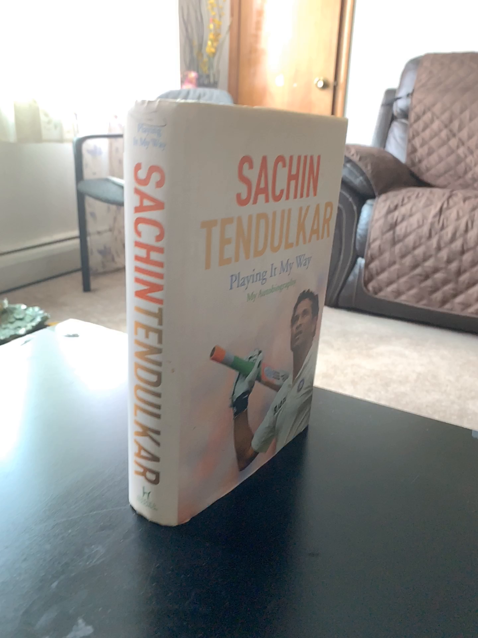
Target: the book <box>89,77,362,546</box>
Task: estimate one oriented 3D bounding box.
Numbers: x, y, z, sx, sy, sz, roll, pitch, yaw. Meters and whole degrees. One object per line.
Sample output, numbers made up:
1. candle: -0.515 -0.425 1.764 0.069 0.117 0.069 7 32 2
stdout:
1. book: 0.001 -0.014 0.319 0.060 0.239 0.171 16 24 34
